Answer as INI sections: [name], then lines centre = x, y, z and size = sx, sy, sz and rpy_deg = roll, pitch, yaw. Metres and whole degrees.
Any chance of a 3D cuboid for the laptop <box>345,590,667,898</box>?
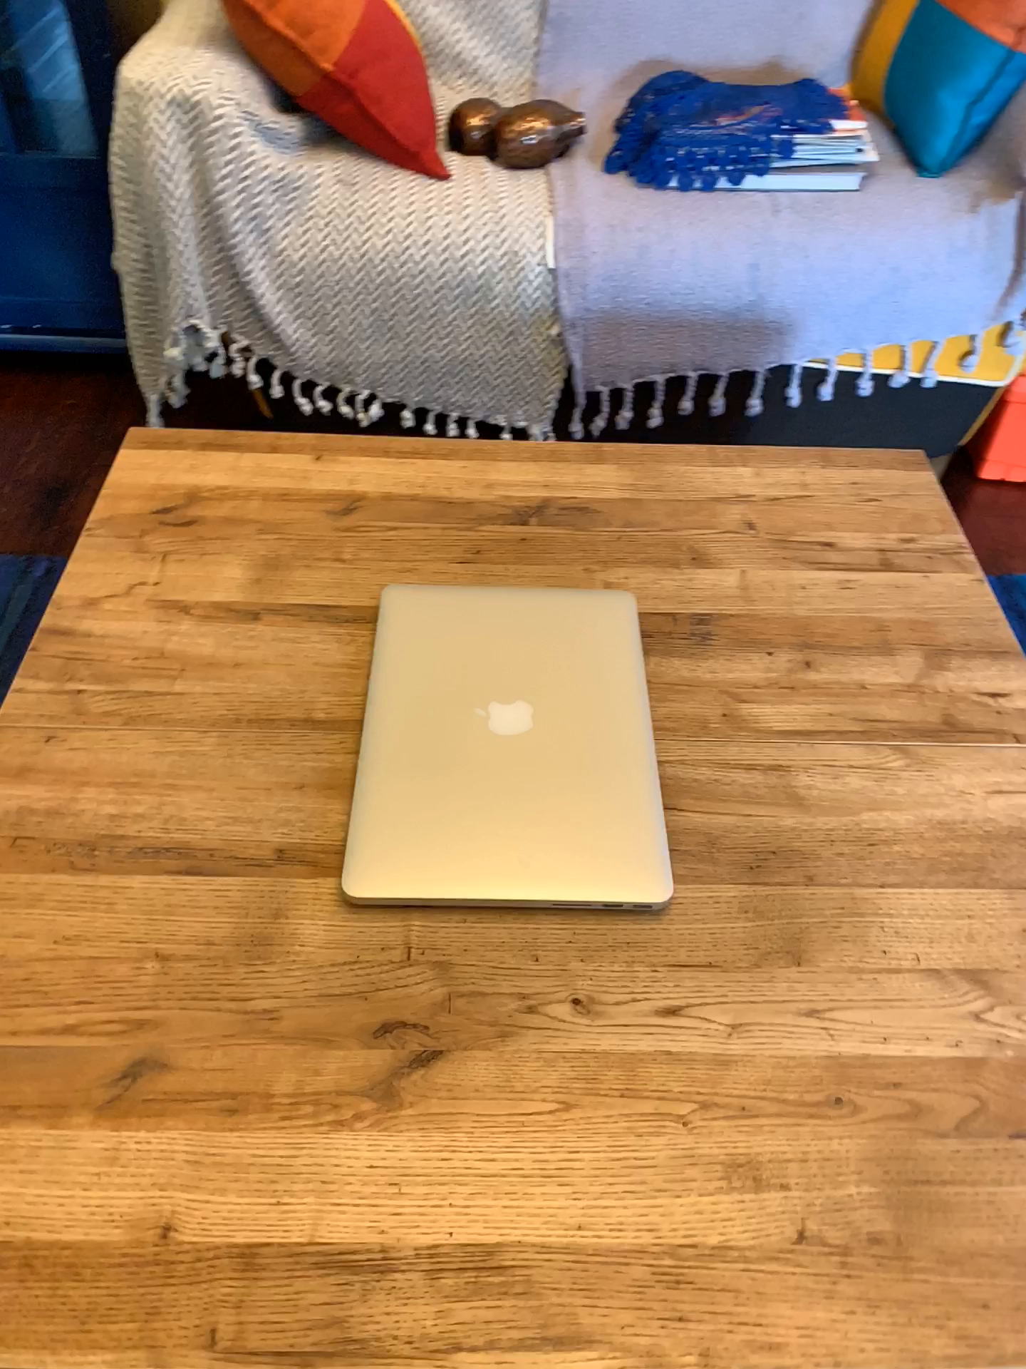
[laptop]
centre = -0.006, 0.029, 0.781
size = 0.208, 0.002, 0.299
rpy_deg = 1, 45, -1
